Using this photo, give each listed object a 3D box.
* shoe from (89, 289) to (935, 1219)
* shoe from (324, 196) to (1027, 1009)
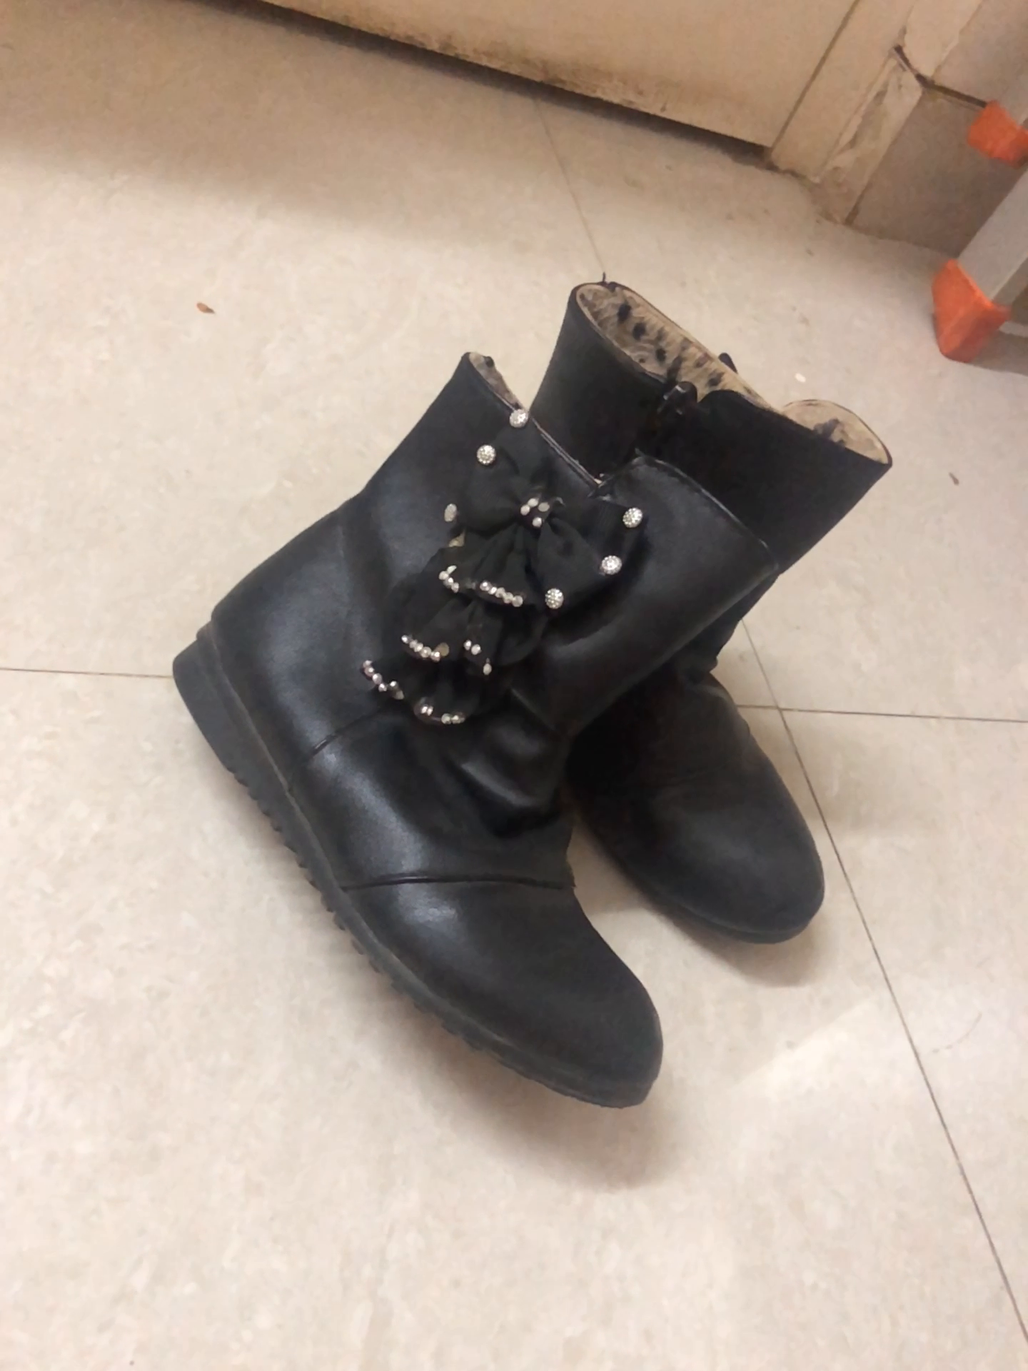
[{"bbox_3d":[-0.003,0.015,0.340,0.200,0.140,0.090,51,15,18],"label":"shoe"},{"bbox_3d":[0.052,-0.031,0.382,0.090,0.139,0.220,-27,69,-39],"label":"shoe"}]
